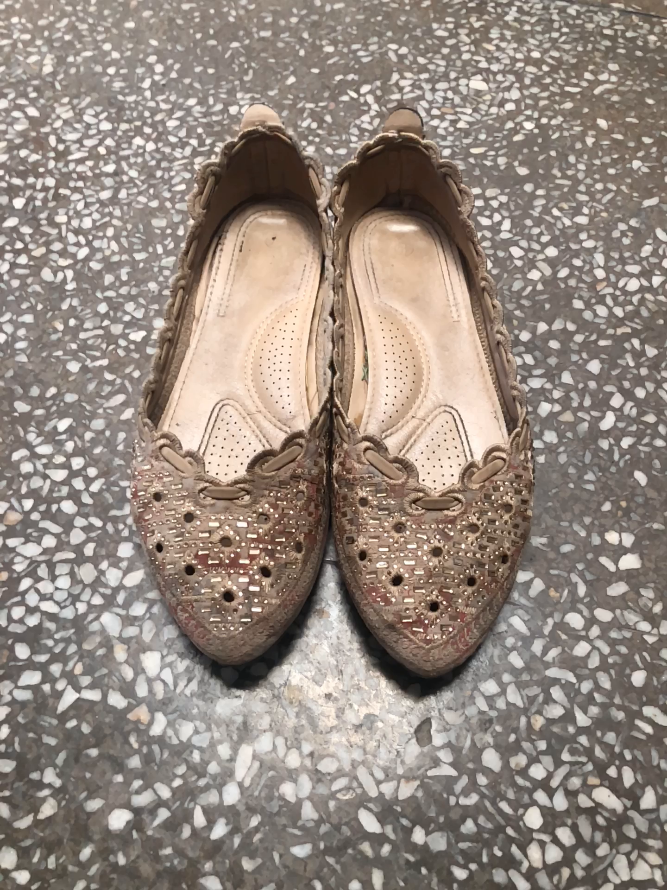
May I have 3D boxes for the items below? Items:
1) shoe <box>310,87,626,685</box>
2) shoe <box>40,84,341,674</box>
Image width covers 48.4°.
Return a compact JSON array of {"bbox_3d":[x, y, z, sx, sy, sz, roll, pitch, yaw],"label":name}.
[{"bbox_3d":[0.039,-0.038,0.315,0.089,0.068,0.255,-2,62,-2],"label":"shoe"},{"bbox_3d":[-0.044,-0.041,0.319,0.089,0.068,0.255,1,62,0],"label":"shoe"}]
